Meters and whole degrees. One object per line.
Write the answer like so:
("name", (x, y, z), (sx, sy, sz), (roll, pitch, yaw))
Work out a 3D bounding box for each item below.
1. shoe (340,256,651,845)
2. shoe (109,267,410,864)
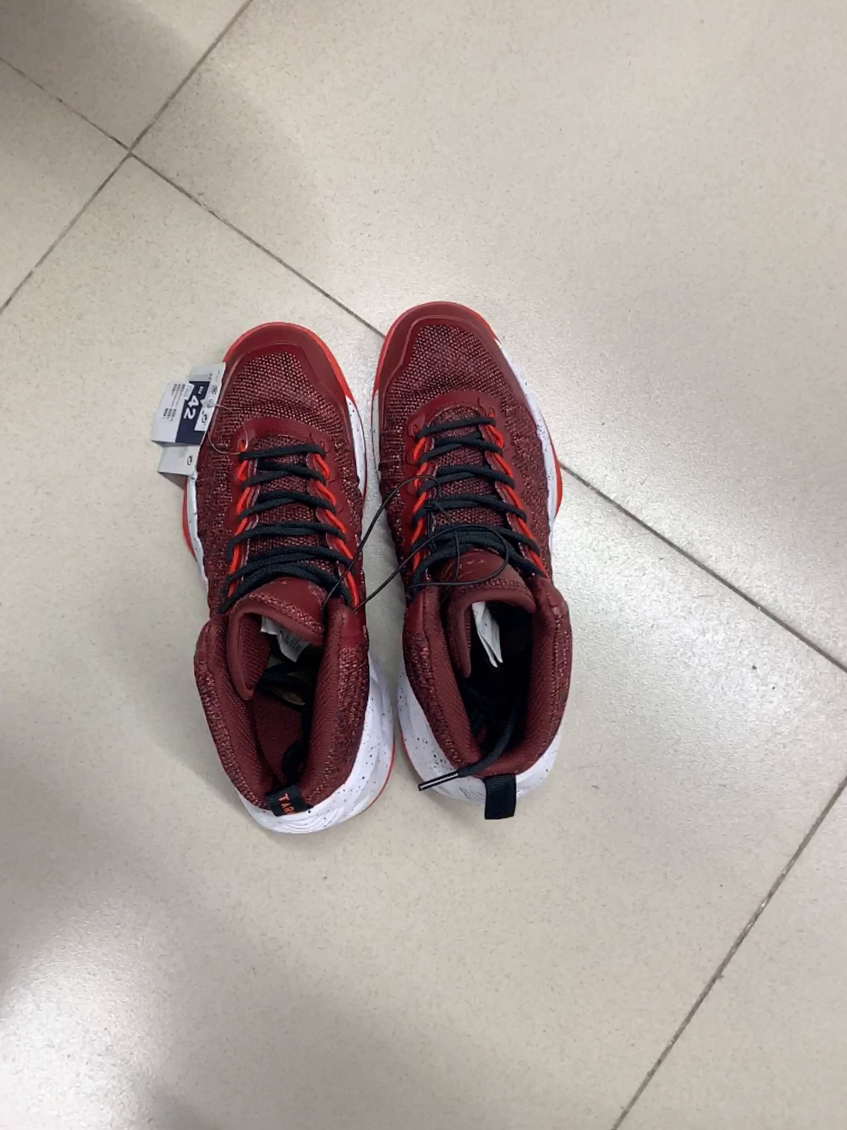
("shoe", (0.033, -0.006, 0.465), (0.120, 0.110, 0.270), (-6, 85, 1))
("shoe", (-0.082, 0.001, 0.474), (0.120, 0.110, 0.280), (-6, 85, 1))
